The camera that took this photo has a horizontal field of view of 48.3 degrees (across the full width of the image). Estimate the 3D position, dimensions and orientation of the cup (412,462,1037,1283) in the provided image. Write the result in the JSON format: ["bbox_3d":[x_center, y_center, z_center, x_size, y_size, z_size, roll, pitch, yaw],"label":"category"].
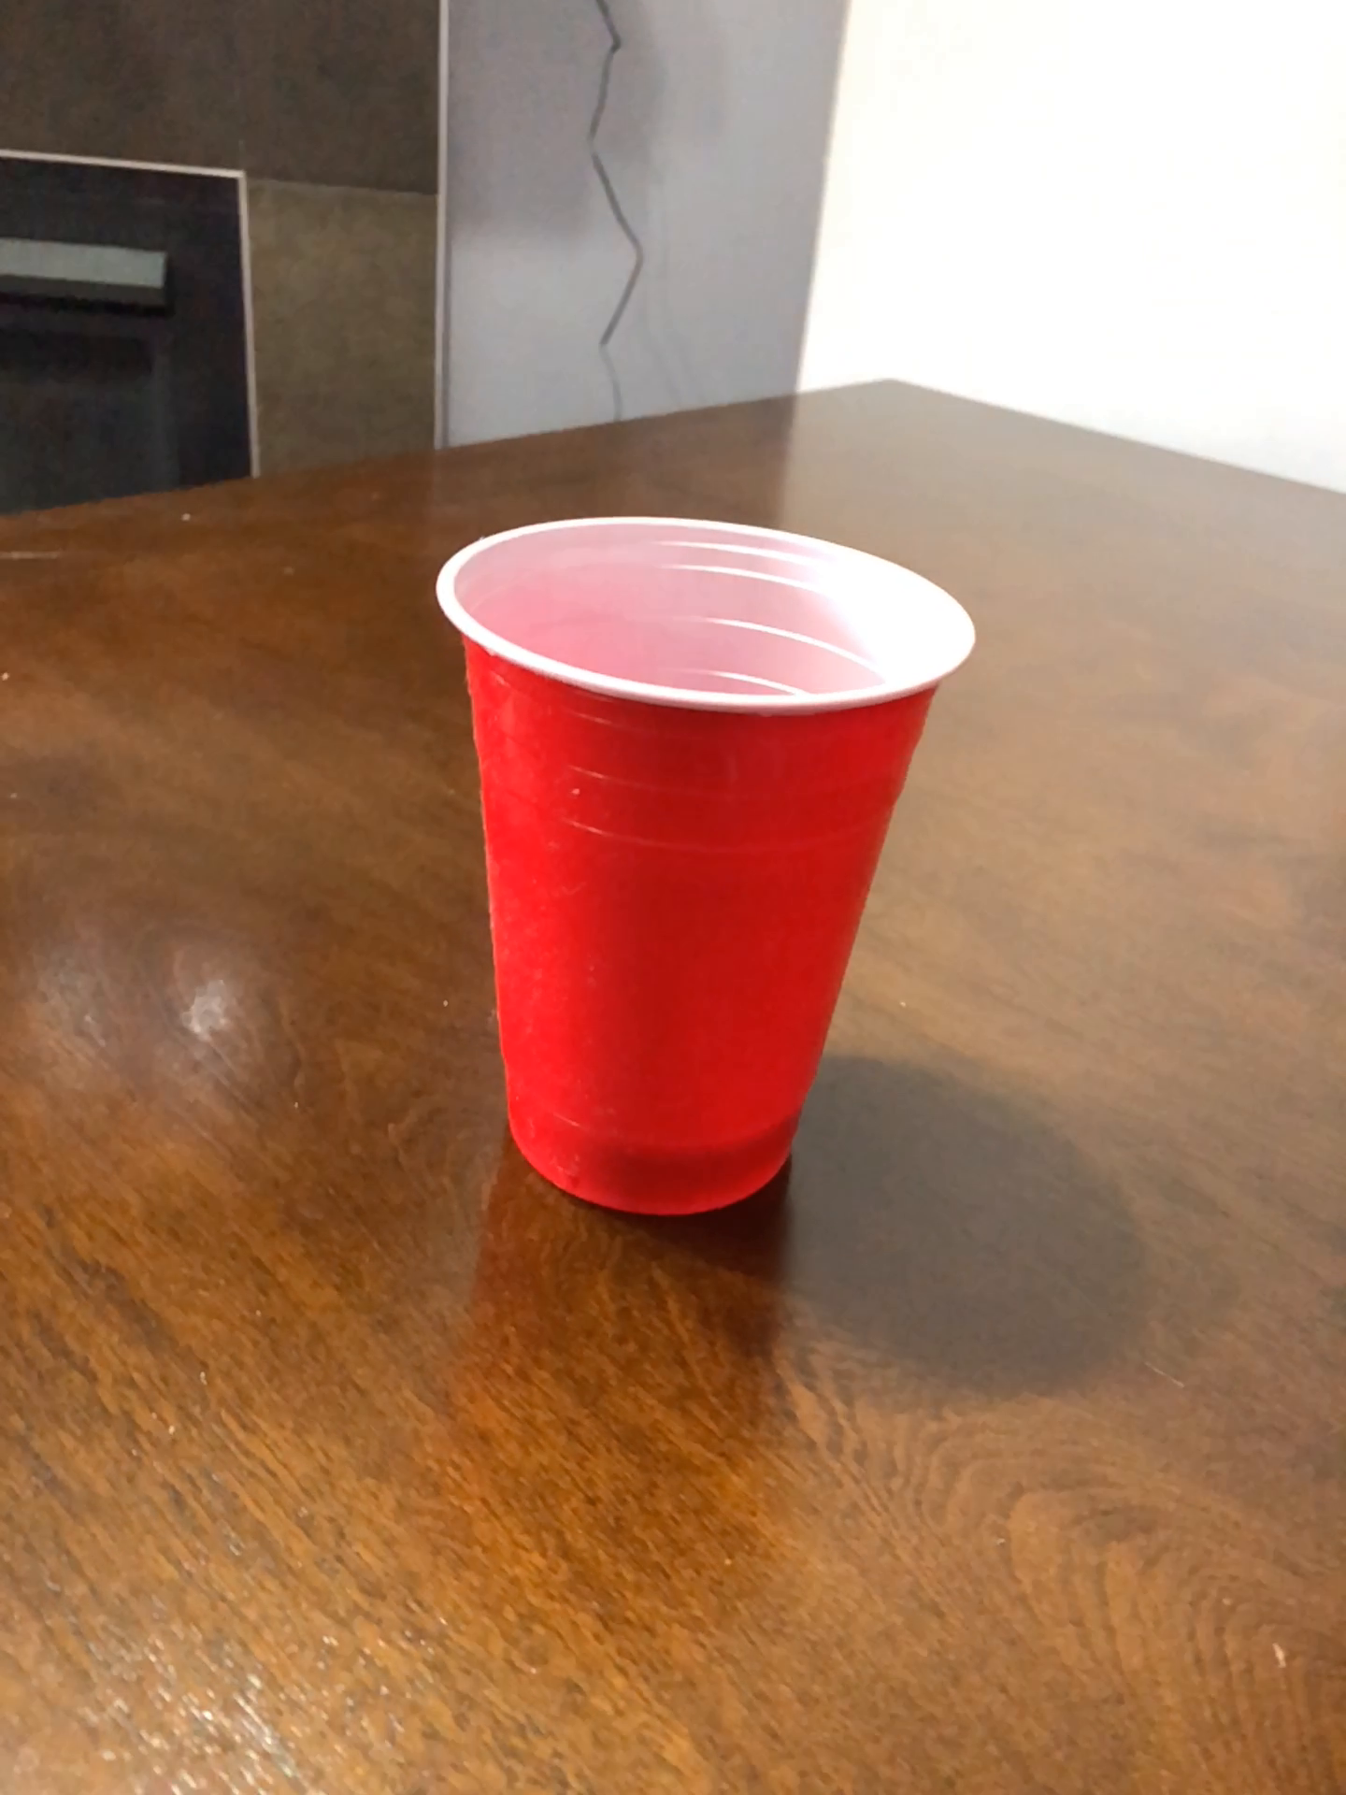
[{"bbox_3d":[0.004,-0.008,0.286,0.090,0.119,0.090,5,29,-3],"label":"cup"}]
